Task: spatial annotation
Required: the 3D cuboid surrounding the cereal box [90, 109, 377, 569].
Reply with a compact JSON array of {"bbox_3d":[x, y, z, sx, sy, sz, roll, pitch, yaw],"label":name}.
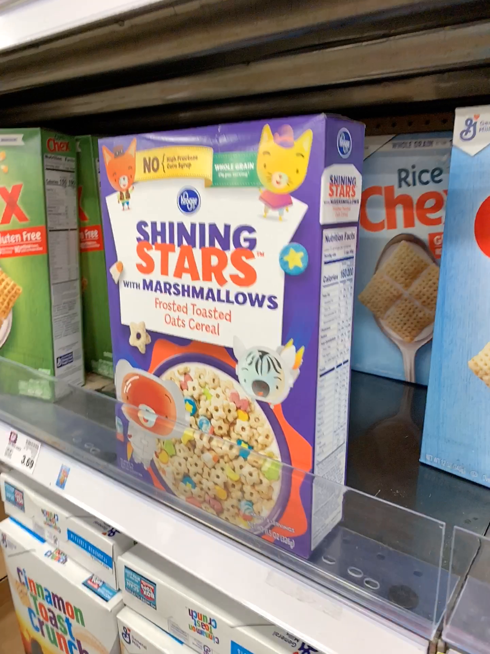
[{"bbox_3d":[-0.017,0.002,0.364,0.200,0.269,0.050,9,16,35],"label":"cereal box"}]
